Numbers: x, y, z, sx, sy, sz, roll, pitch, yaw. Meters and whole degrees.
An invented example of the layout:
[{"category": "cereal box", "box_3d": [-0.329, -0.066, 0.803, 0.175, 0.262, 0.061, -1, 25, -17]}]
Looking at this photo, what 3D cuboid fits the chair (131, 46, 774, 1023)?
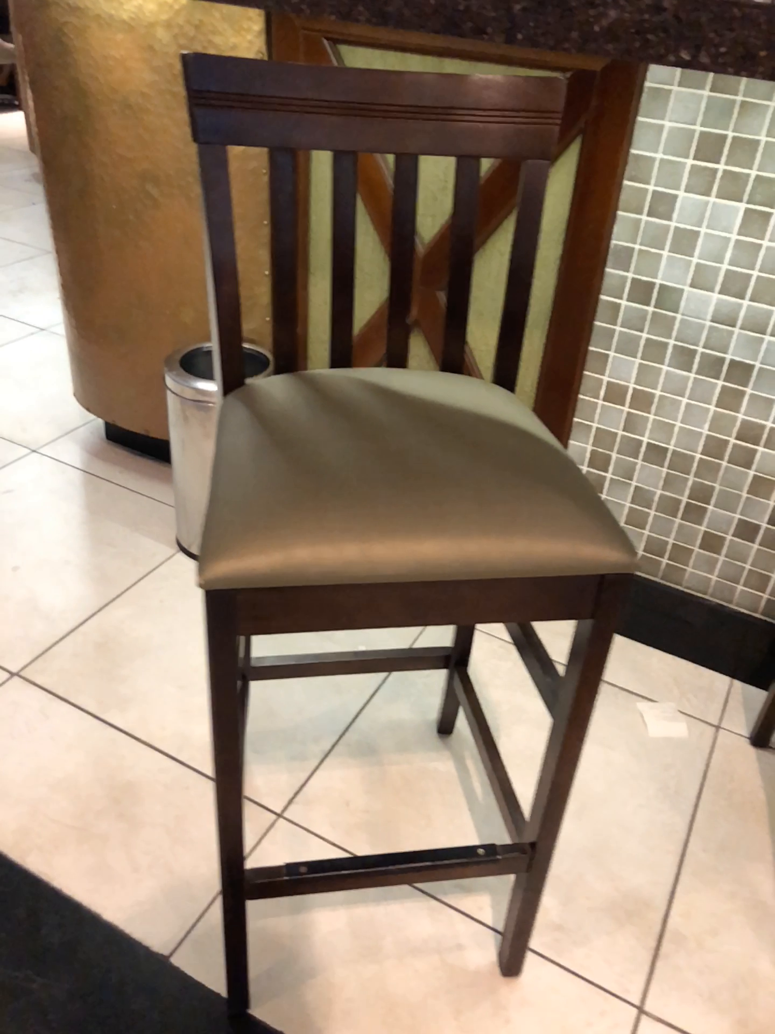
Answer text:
[{"category": "chair", "box_3d": [-0.001, 0.059, 1.026, 0.460, 1.032, 0.494, -2, 34, -10]}]
